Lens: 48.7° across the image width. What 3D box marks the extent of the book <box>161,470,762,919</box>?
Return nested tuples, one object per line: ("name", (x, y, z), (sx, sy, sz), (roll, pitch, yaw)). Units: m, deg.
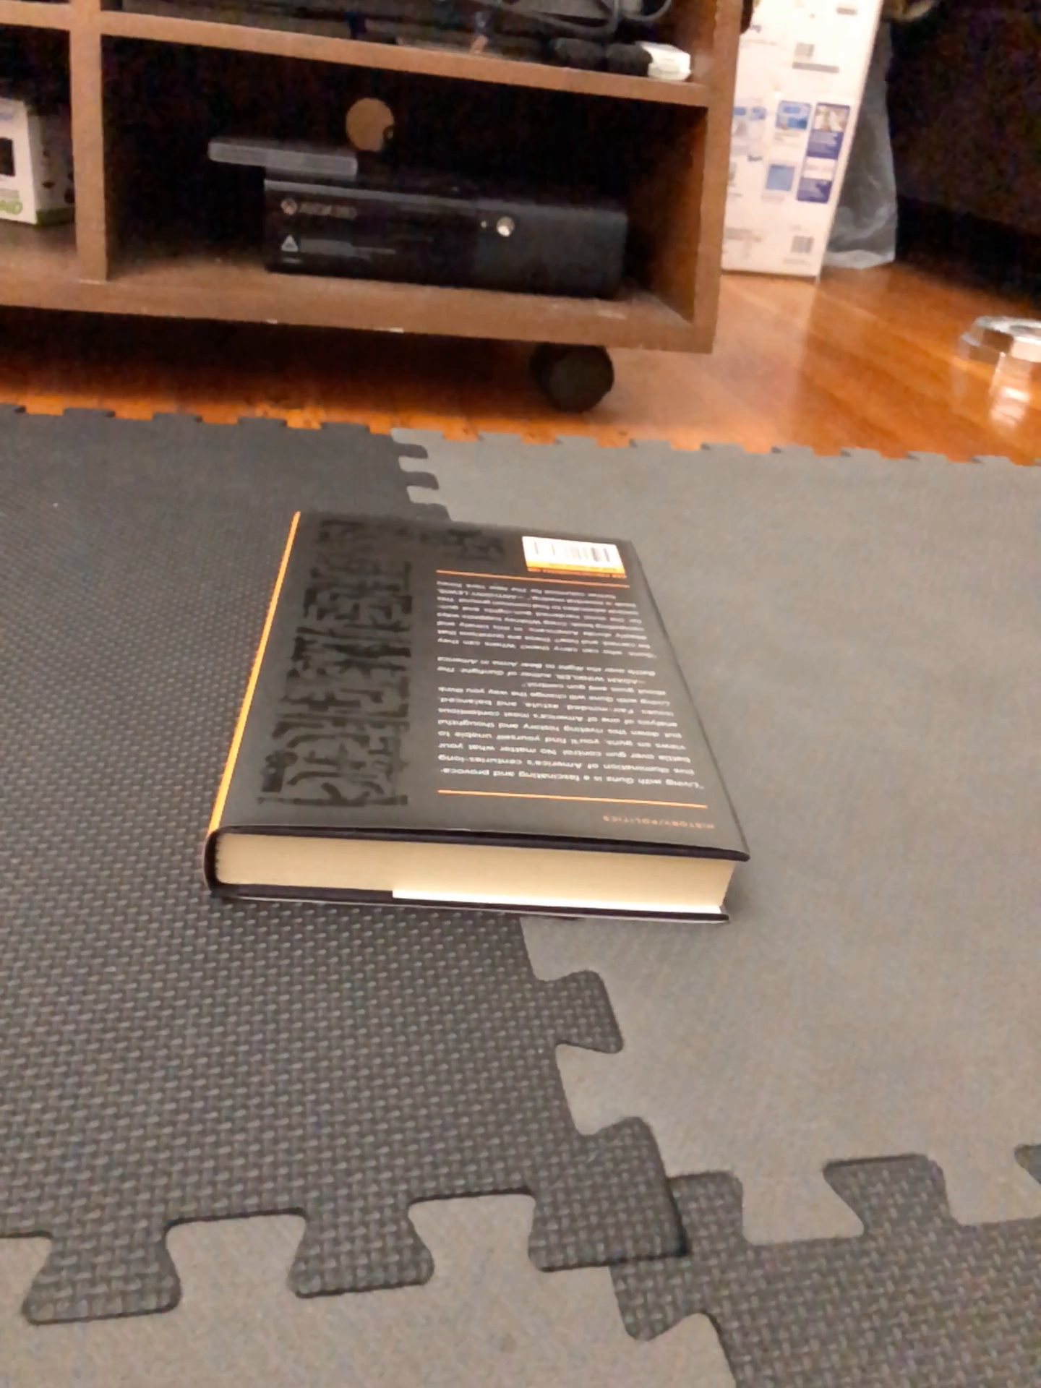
("book", (-0.024, -0.018, 0.448), (0.170, 0.040, 0.262), (4, 29, -6))
